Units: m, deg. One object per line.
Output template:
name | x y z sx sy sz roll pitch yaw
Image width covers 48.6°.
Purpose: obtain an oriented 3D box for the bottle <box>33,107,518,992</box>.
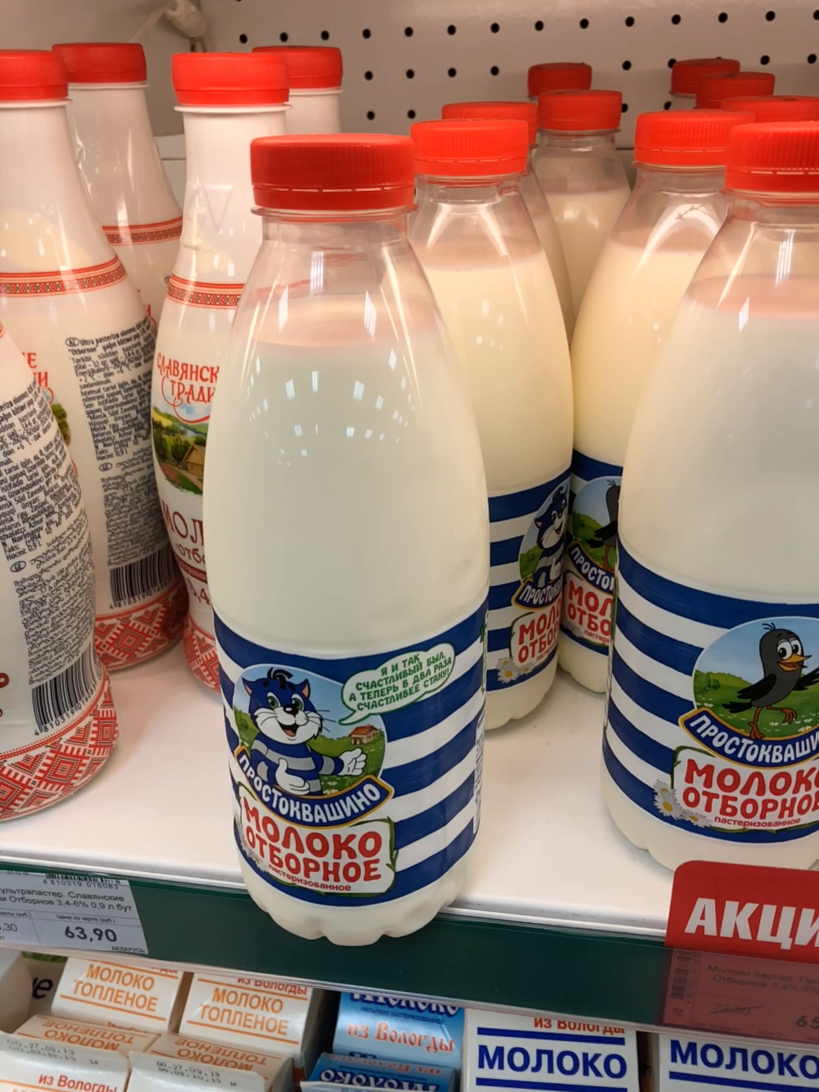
bottle | -0.026 0.002 0.264 0.090 0.228 0.080 7 24 18
